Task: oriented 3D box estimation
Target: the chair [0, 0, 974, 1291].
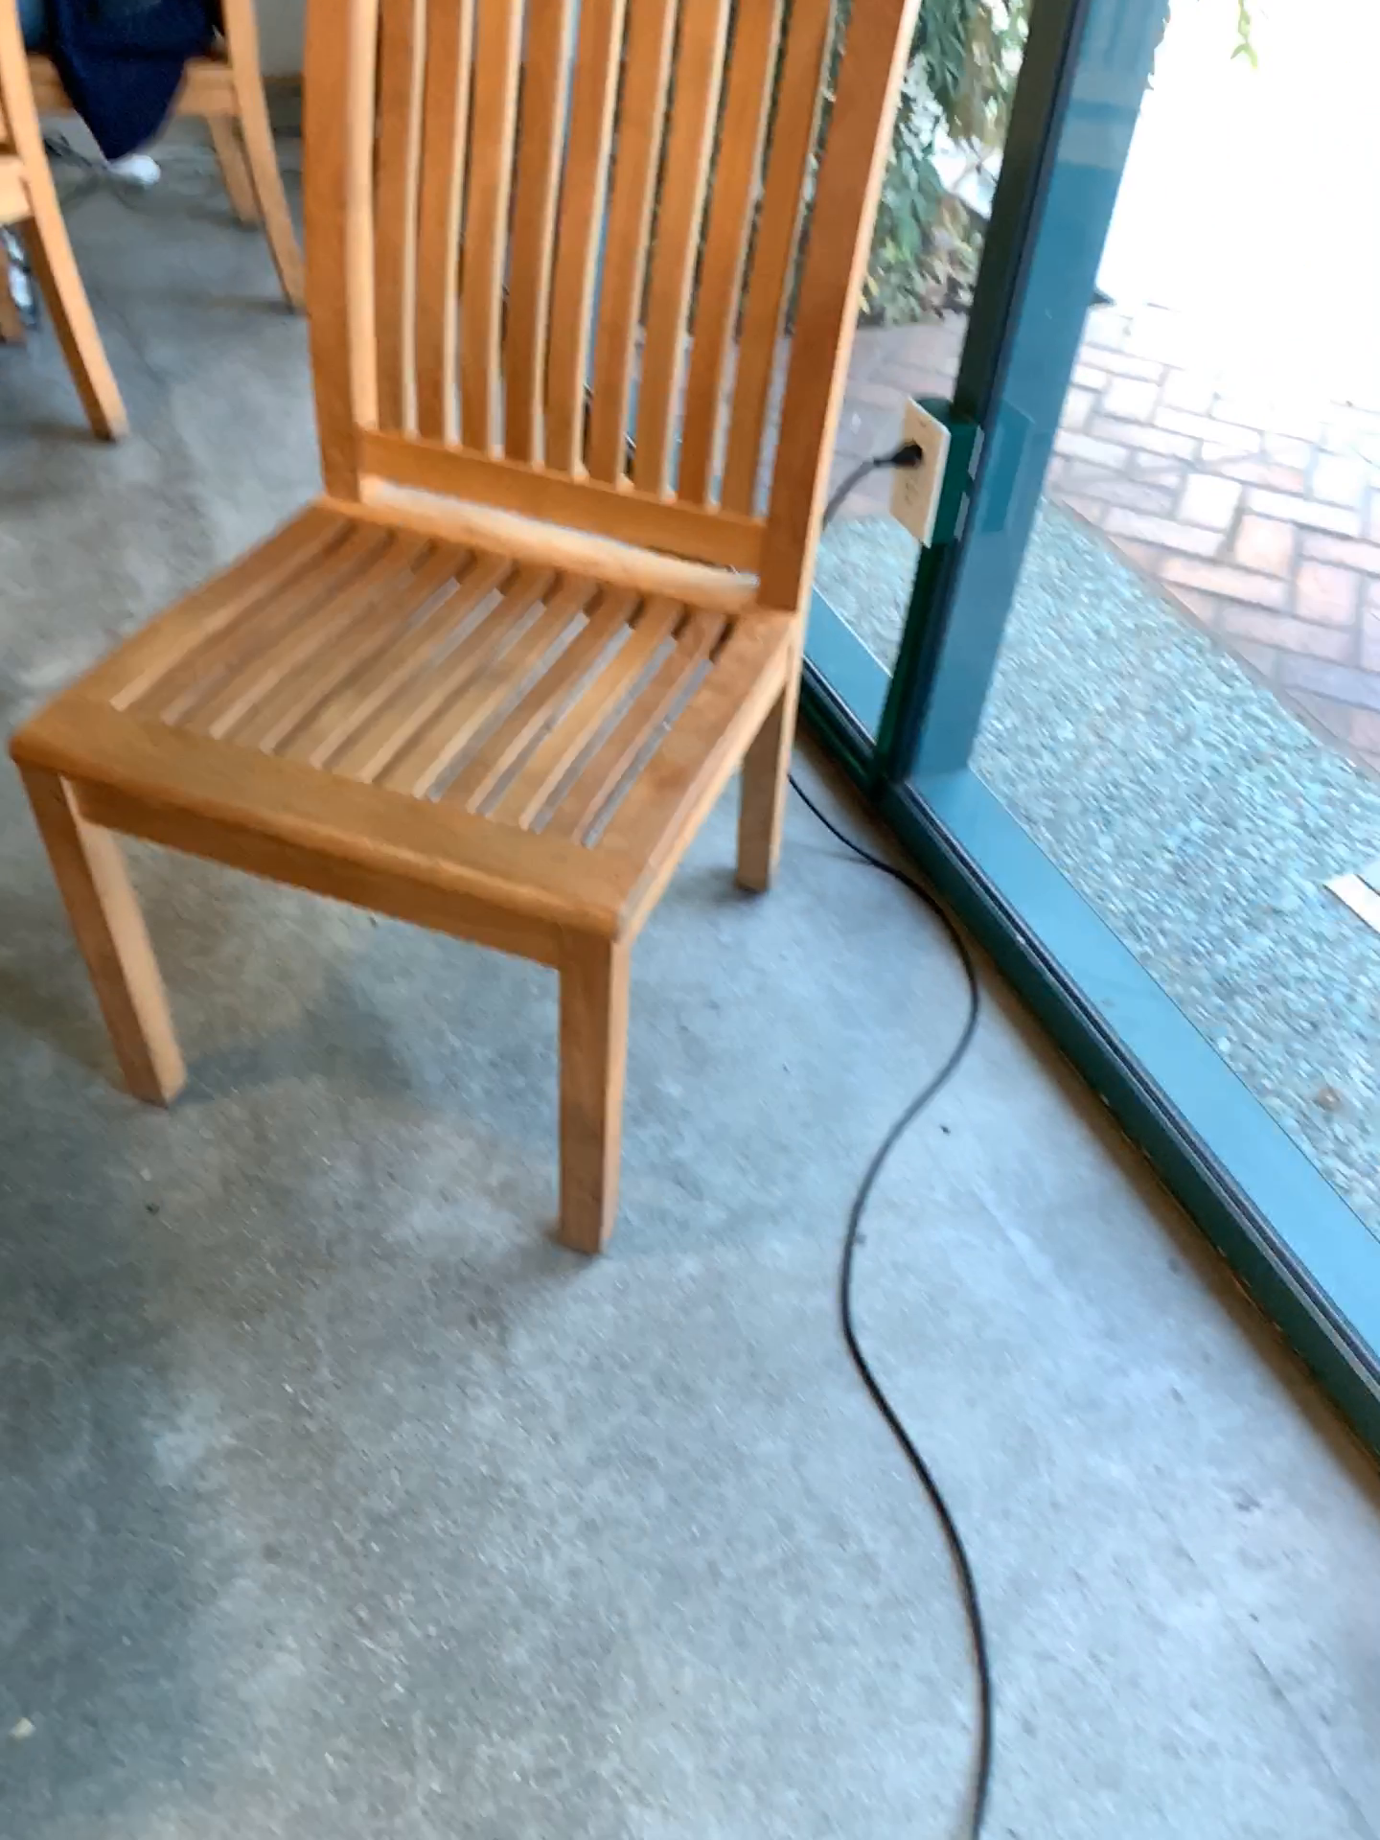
[{"bbox_3d":[-0.192,-0.288,1.127,0.531,0.915,0.612,17,46,12],"label":"chair"}]
